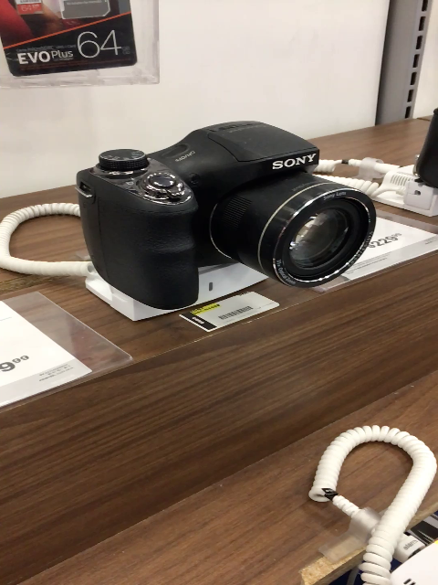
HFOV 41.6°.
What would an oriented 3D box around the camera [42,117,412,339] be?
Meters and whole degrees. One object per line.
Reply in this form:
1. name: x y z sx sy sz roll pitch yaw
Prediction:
1. camera: 0.005 -0.045 0.322 0.135 0.072 0.115 -23 37 -33
